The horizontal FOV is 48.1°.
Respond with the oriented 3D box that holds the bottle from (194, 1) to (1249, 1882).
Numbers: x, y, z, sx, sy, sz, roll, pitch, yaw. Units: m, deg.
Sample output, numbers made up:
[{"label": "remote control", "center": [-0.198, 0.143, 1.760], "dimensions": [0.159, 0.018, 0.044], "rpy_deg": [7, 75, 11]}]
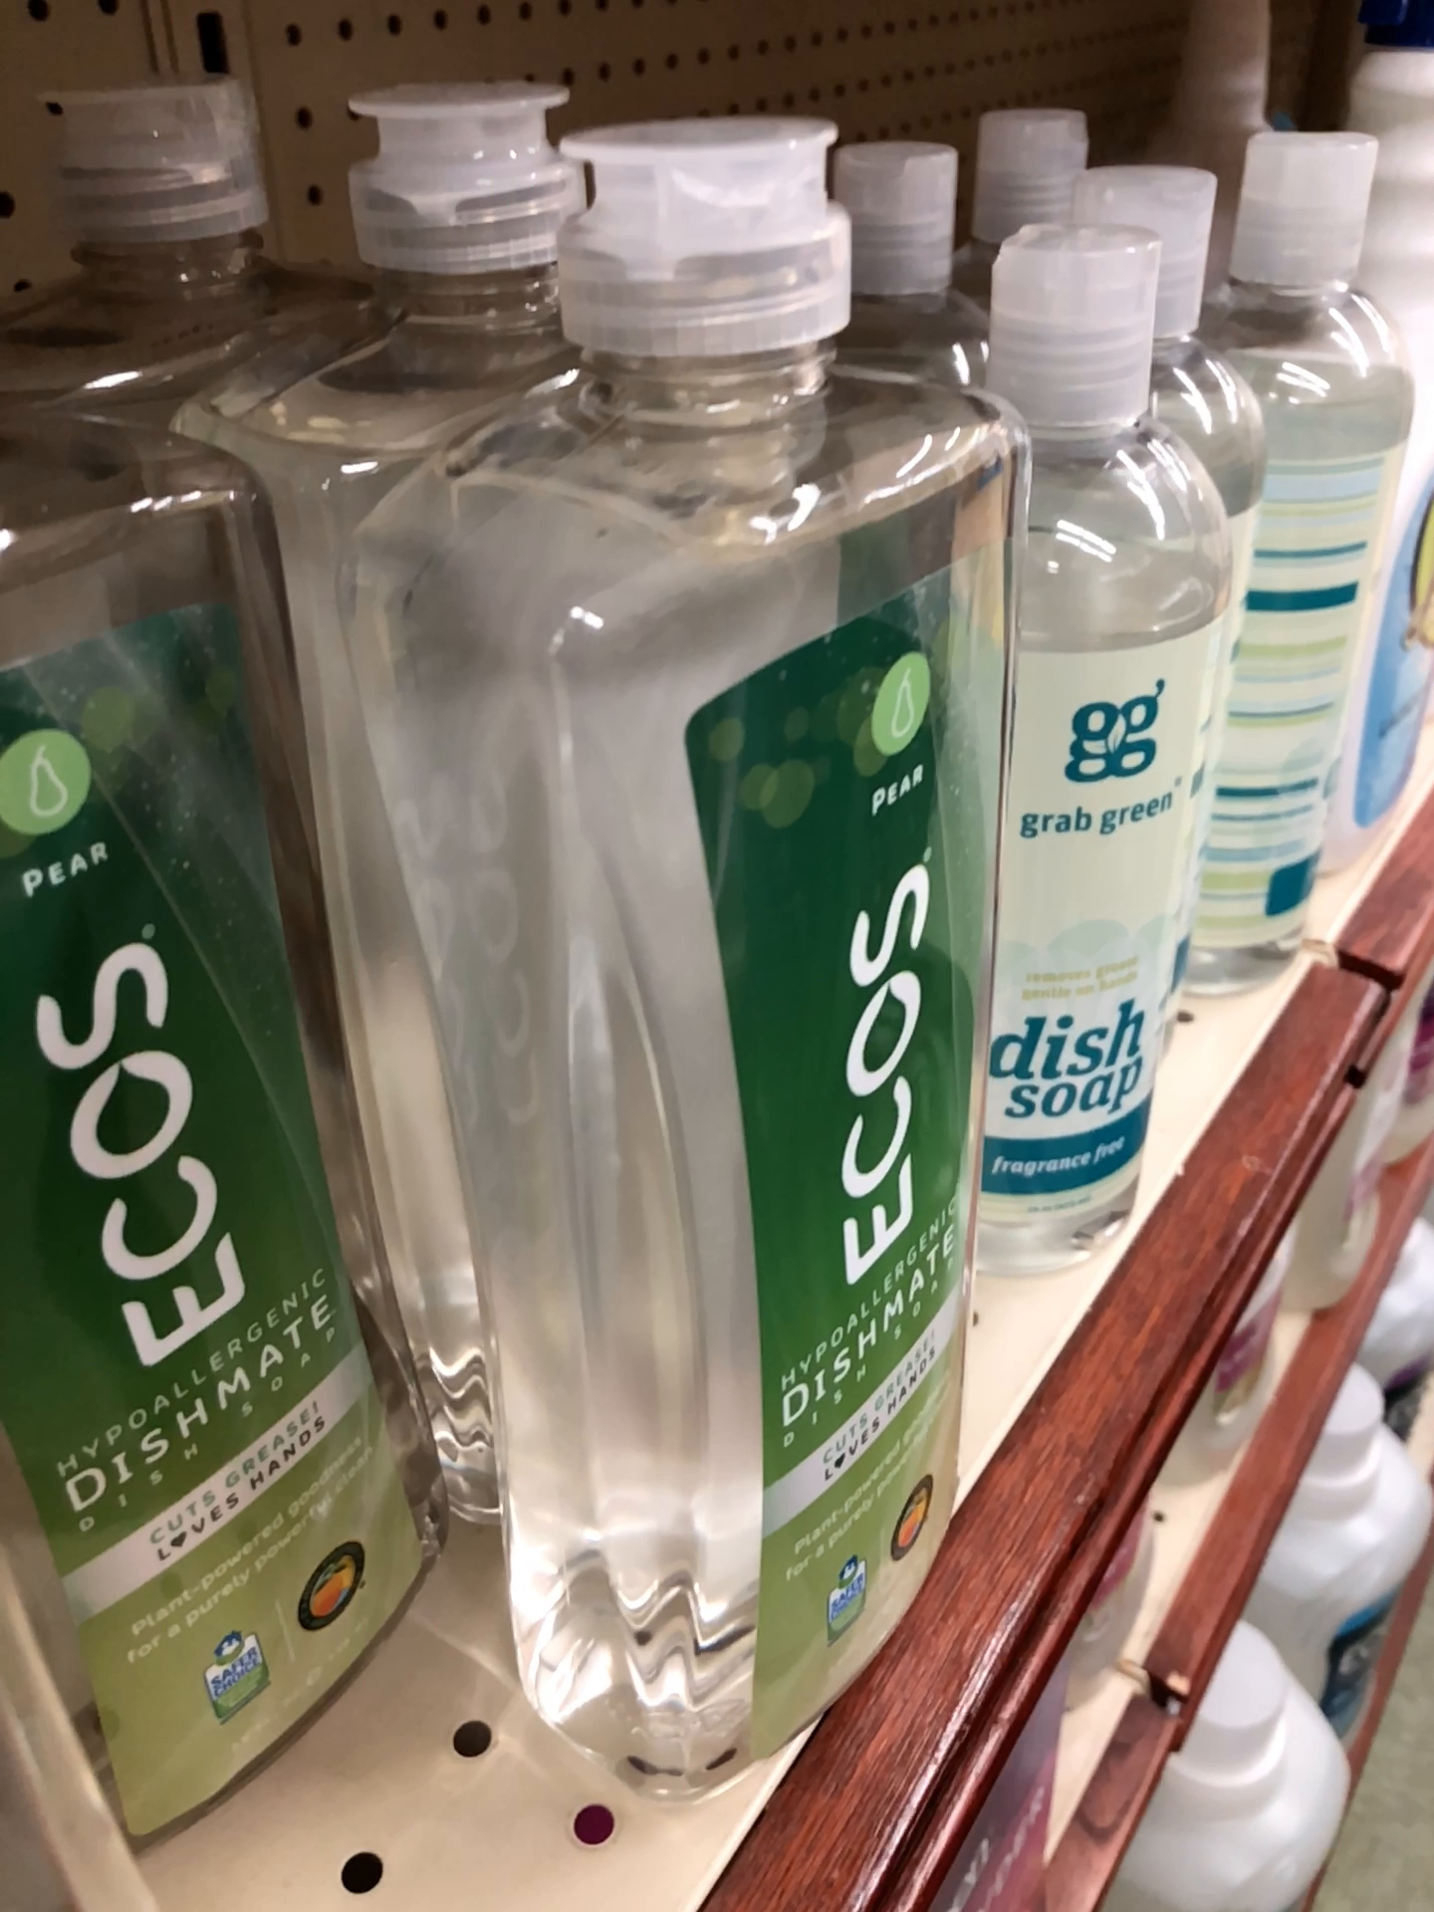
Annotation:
[{"label": "bottle", "center": [0.006, 0.010, 0.209], "dimensions": [0.050, 0.226, 0.092], "rpy_deg": [24, 41, 30]}]
